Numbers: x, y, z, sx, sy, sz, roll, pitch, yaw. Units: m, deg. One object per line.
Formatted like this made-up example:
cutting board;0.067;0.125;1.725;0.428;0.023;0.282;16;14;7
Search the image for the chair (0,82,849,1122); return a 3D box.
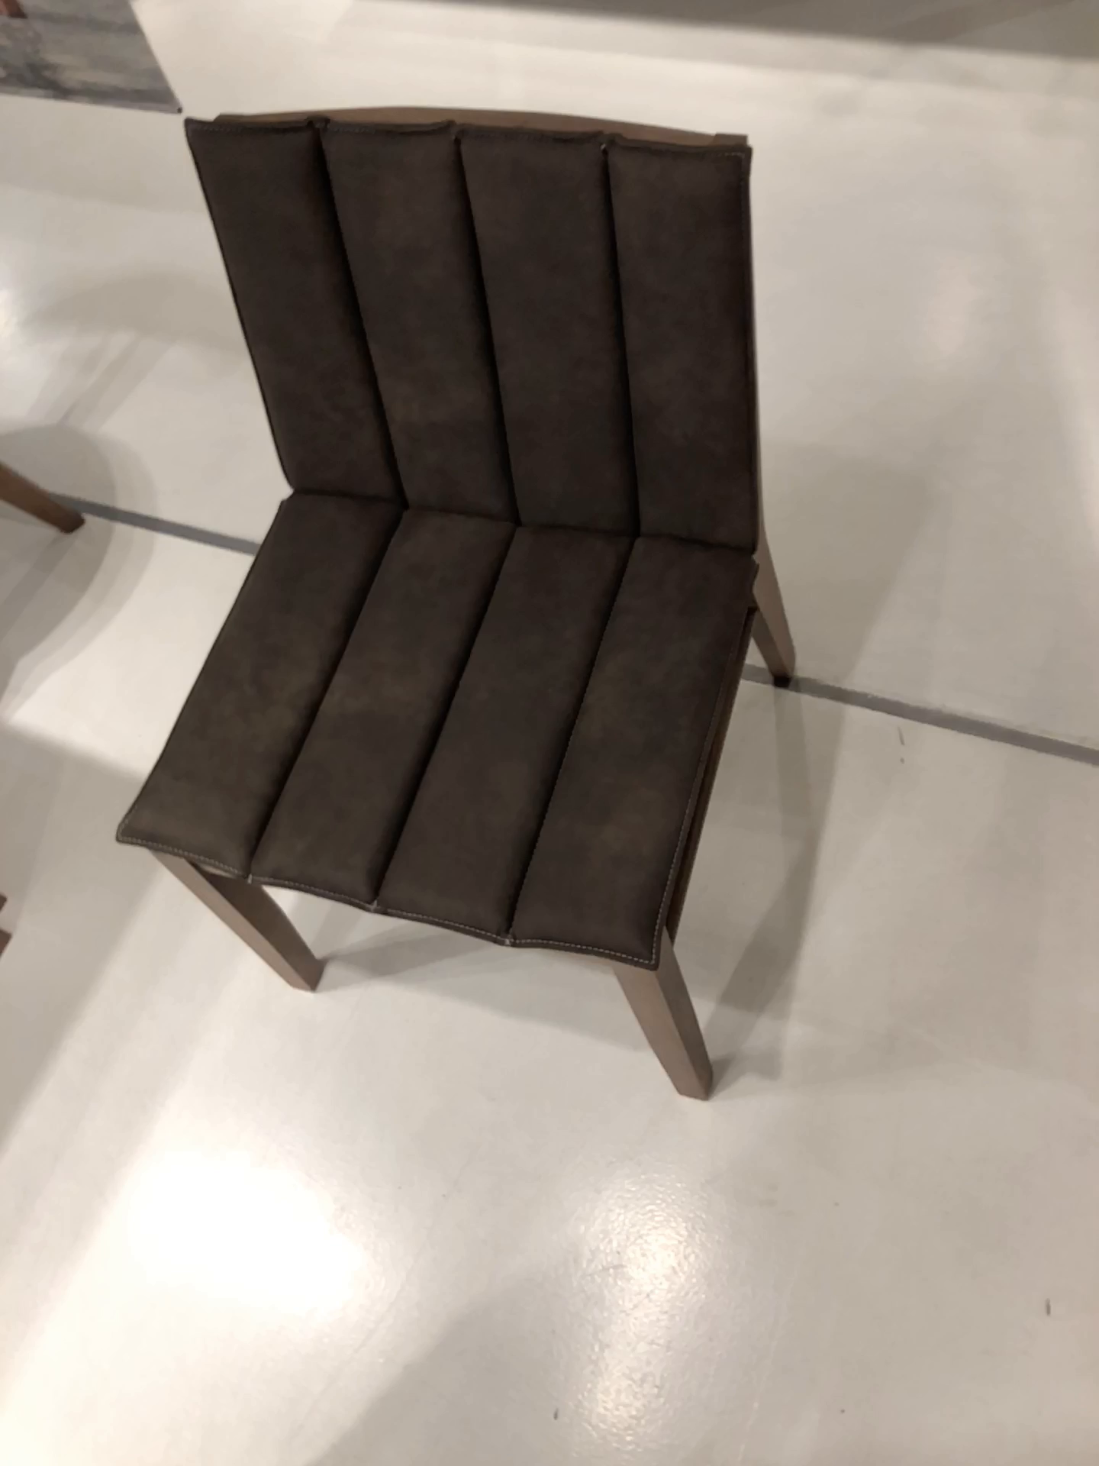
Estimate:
chair;-0.056;-0.061;1.140;0.541;0.776;0.572;11;66;18
